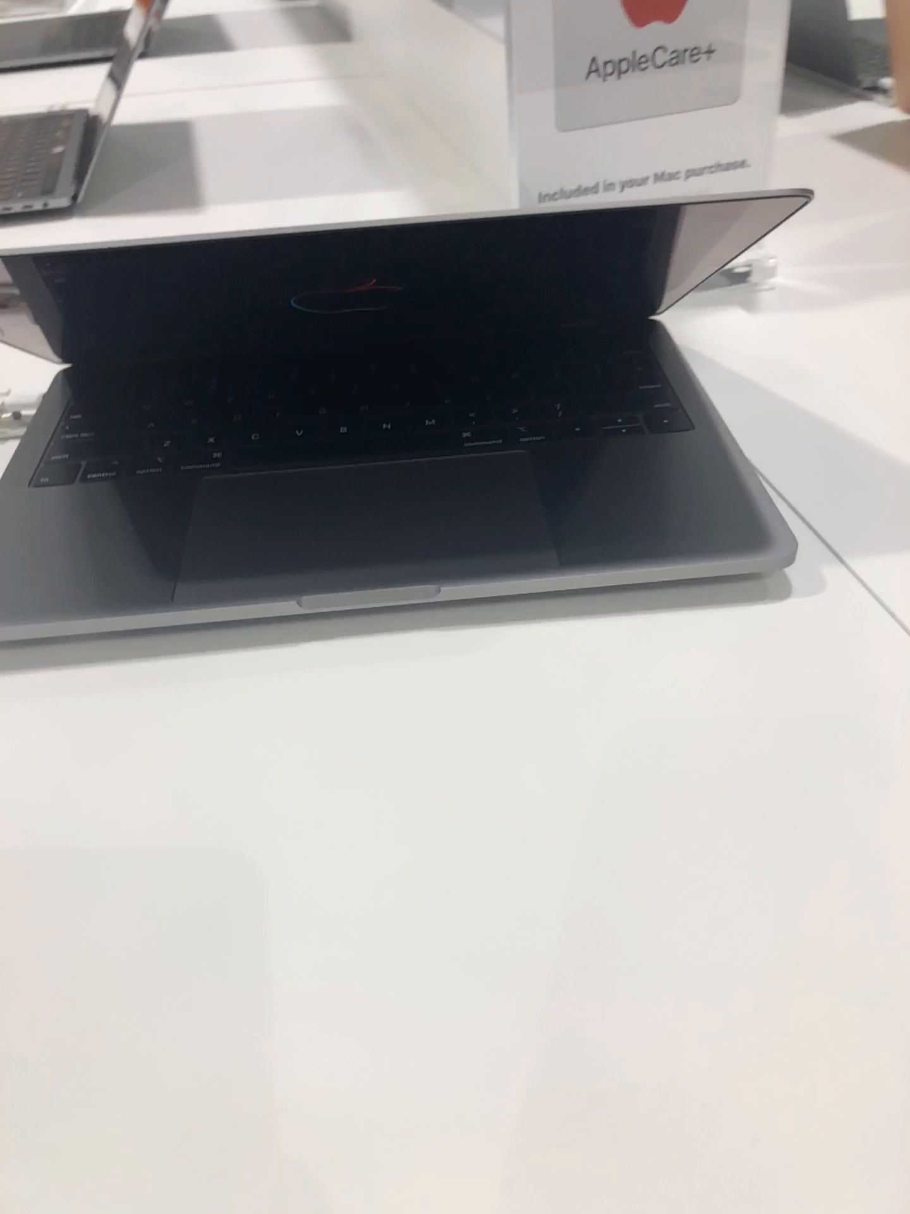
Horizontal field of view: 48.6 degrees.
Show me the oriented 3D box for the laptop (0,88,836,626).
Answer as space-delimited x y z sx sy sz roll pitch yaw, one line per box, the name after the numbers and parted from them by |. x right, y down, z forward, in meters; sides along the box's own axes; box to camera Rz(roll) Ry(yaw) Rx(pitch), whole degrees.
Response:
-0.041 -0.113 0.397 0.294 0.109 0.205 -5 38 -2 | laptop
